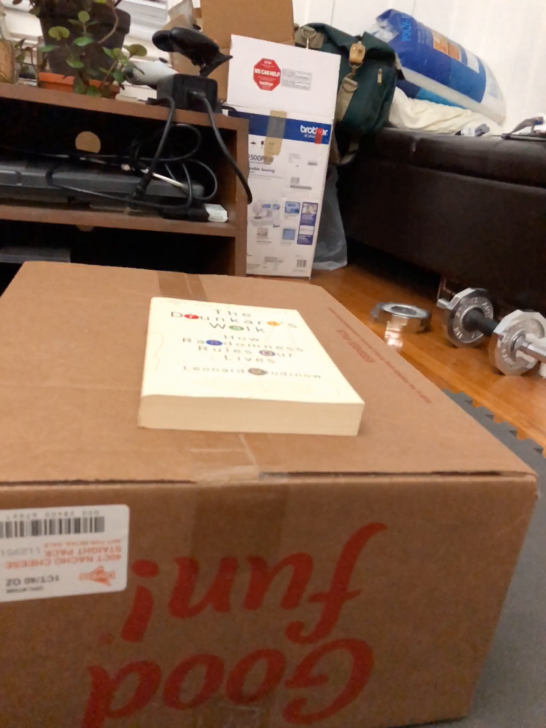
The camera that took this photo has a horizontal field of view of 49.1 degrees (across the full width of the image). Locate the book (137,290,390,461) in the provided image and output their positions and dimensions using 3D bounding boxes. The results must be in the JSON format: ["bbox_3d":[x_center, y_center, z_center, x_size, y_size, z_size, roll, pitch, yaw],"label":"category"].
[{"bbox_3d":[-0.022,-0.002,0.433,0.140,0.040,0.211,3,21,-12],"label":"book"}]
